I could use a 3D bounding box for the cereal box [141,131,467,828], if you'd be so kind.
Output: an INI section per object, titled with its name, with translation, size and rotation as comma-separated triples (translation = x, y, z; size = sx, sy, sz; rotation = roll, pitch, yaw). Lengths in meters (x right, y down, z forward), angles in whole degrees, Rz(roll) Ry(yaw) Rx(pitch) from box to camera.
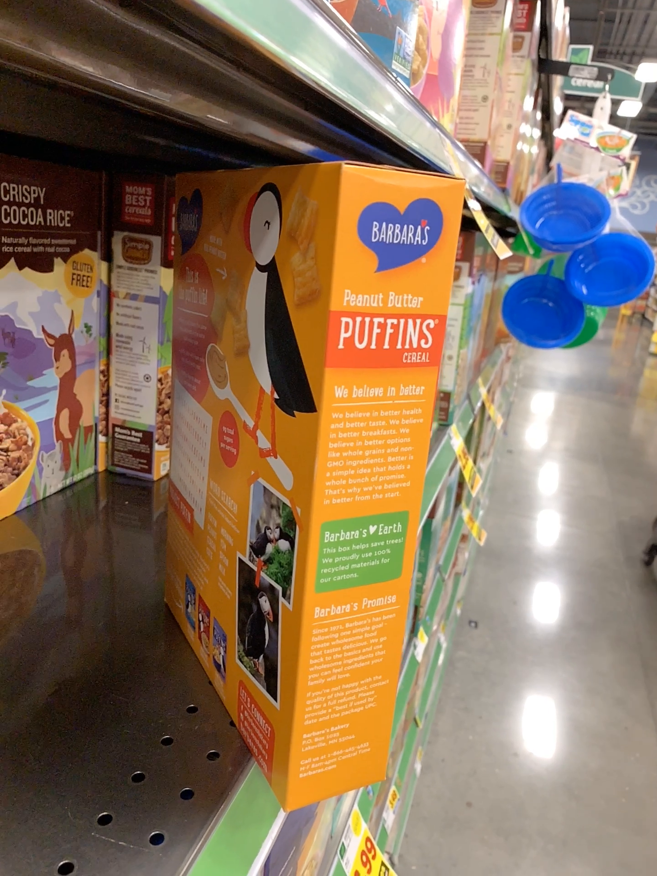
[cereal box]
translation = -0.039, 0.002, 0.362
size = 0.060, 0.279, 0.221
rotation = -6, 19, -29
